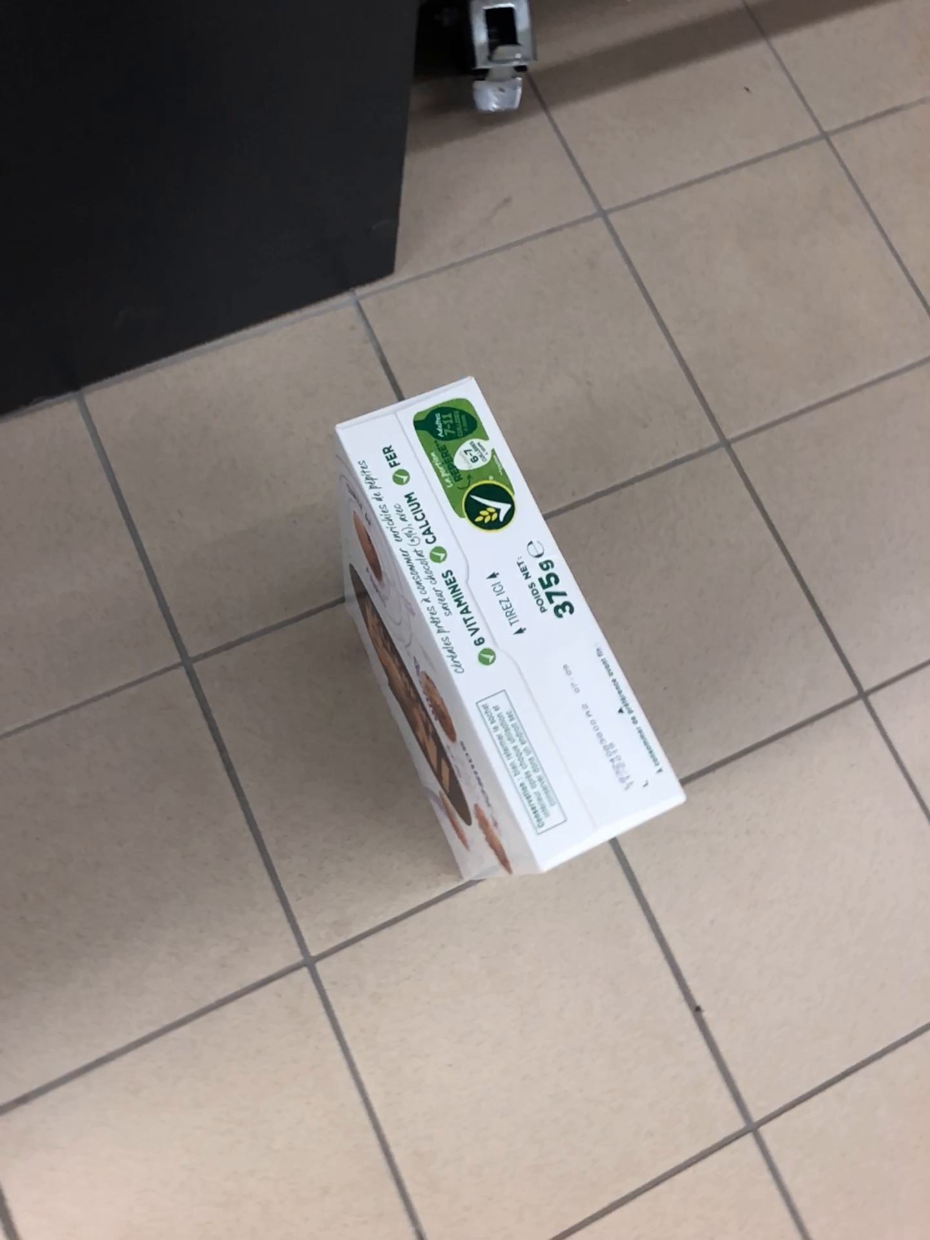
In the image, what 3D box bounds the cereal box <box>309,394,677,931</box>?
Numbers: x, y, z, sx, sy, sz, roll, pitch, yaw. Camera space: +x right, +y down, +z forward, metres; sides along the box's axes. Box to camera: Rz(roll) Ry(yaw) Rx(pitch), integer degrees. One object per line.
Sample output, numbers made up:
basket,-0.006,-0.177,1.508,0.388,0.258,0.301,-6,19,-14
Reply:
cereal box,-0.008,0.043,0.516,0.060,0.269,0.200,-23,80,-12
